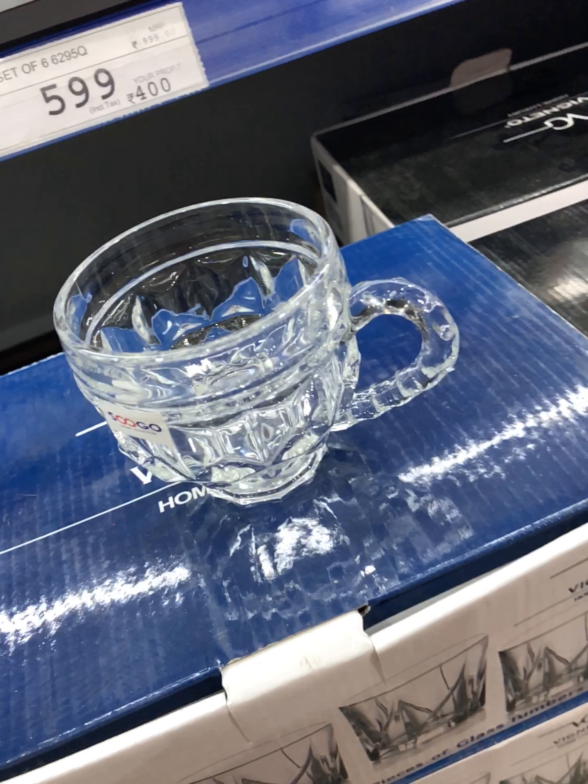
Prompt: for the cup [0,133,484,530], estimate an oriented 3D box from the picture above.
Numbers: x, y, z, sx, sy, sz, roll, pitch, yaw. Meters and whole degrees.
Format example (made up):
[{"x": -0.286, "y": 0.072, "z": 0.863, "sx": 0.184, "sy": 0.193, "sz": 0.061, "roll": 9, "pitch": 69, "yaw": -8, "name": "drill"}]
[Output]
[{"x": -0.005, "y": -0.019, "z": 0.189, "sx": 0.110, "sy": 0.060, "sz": 0.090, "roll": -1, "pitch": 42, "yaw": 19, "name": "cup"}]
